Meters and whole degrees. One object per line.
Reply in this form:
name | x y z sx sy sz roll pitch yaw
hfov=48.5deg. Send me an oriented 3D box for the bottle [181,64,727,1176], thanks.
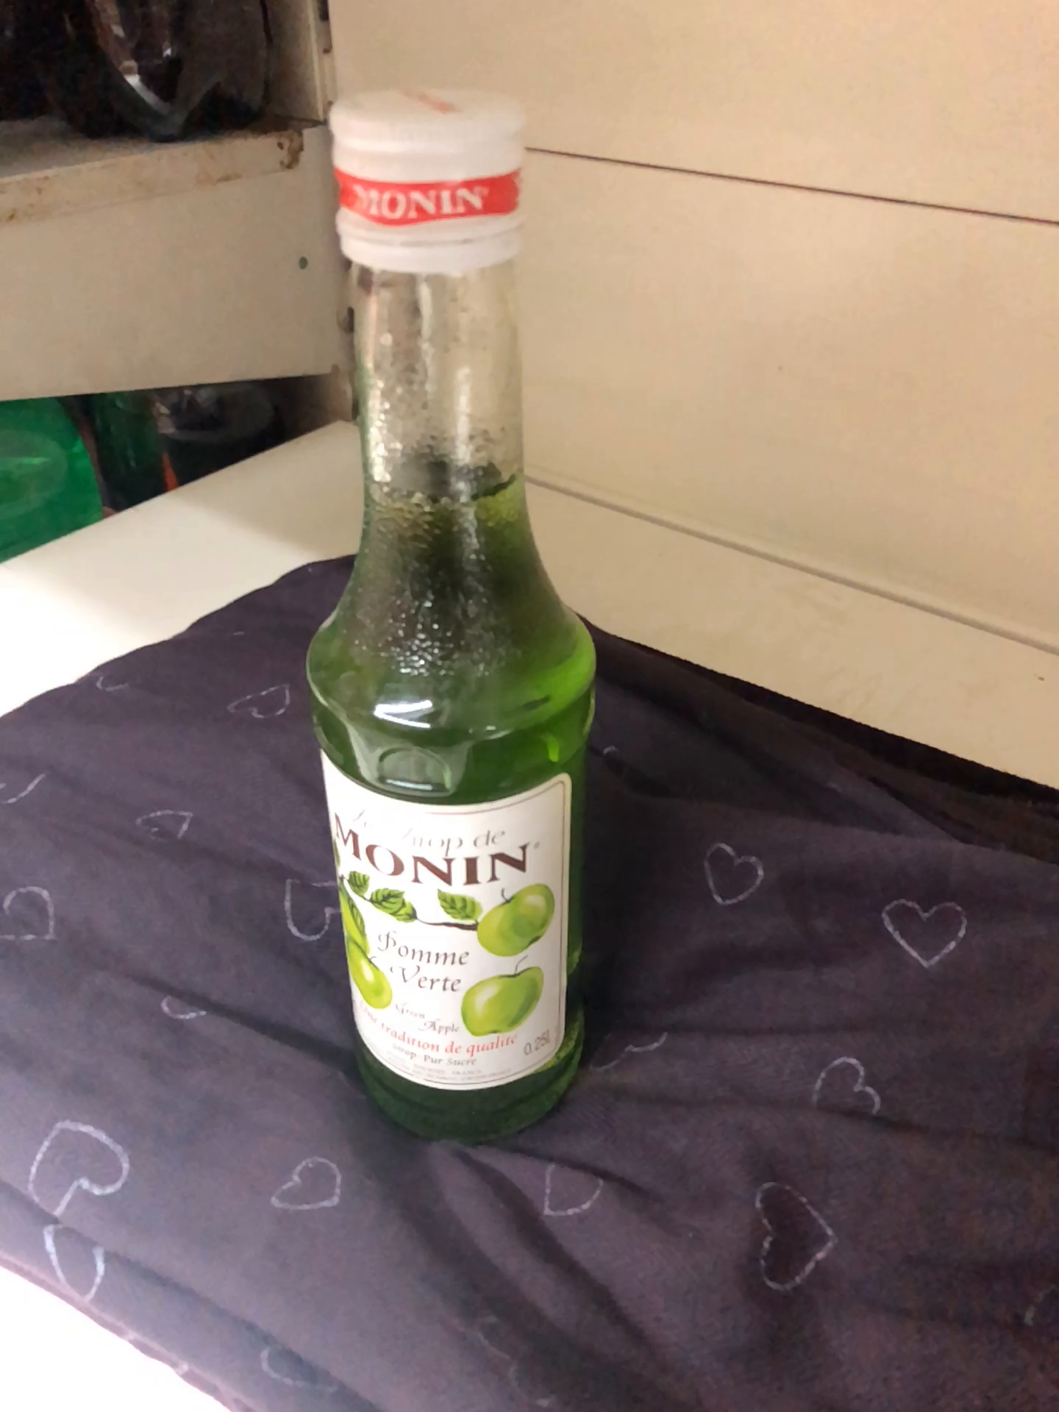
bottle | -0.009 -0.006 0.225 0.060 0.199 0.060 1 33 0
